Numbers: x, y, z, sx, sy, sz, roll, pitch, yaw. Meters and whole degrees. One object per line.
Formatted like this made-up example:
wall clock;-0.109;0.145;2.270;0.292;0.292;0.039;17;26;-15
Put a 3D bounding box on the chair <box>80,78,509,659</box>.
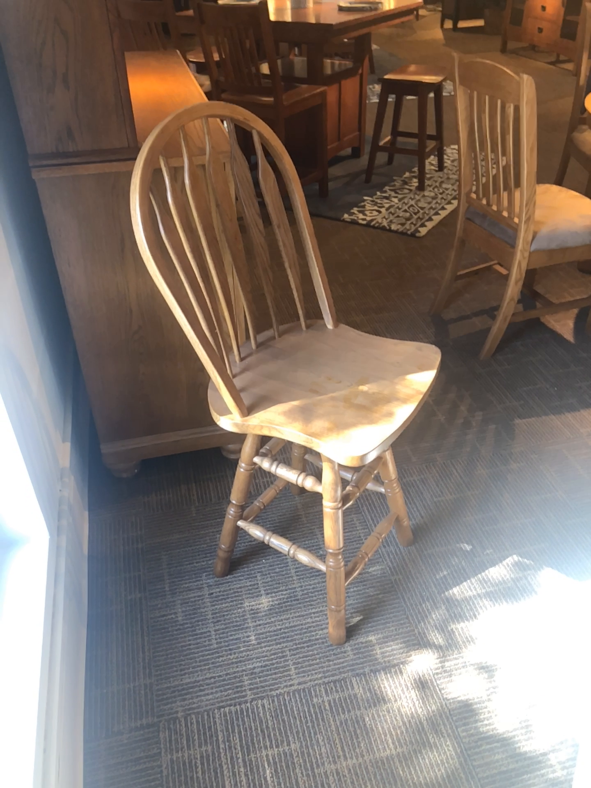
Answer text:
chair;0.025;-0.044;1.379;0.541;1.025;0.482;19;41;26
